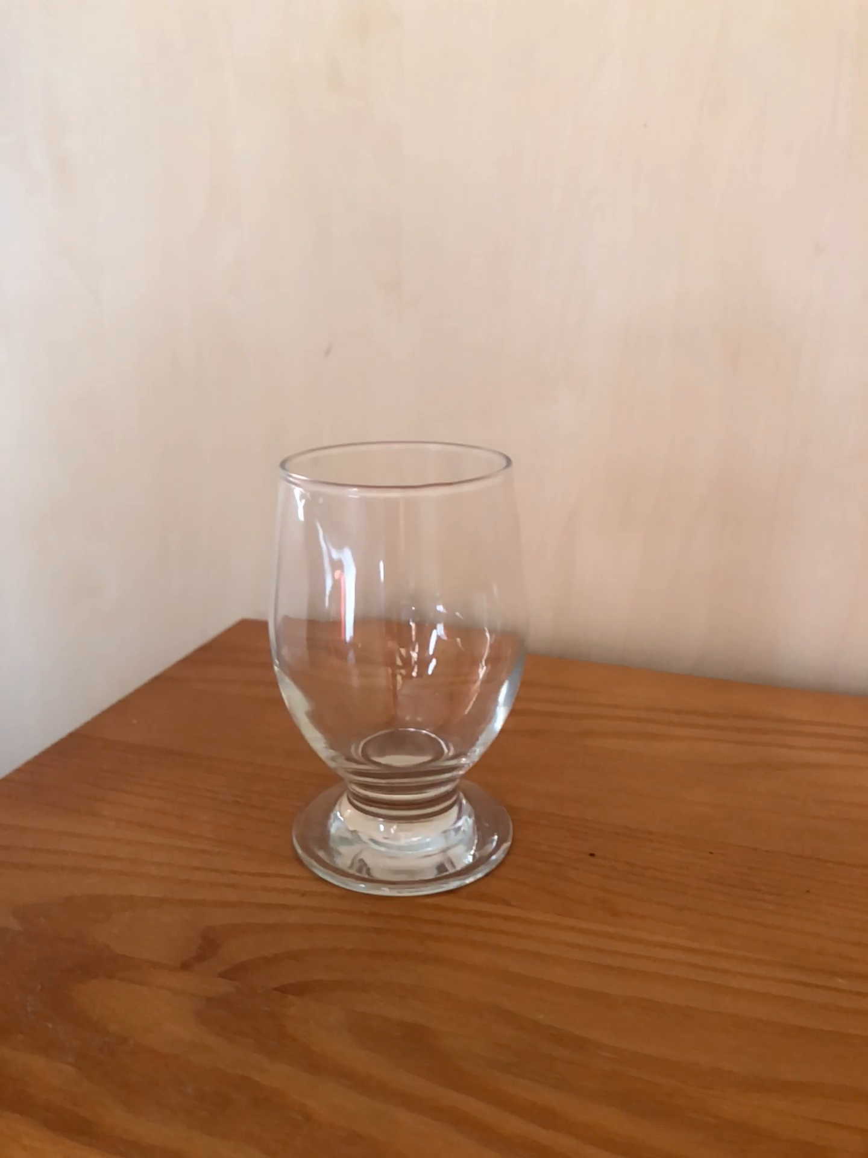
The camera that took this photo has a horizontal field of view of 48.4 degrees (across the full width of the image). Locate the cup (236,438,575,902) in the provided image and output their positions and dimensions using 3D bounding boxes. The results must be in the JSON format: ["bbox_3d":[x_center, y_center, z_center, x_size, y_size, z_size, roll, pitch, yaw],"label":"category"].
[{"bbox_3d":[-0.011,0.020,0.277,0.078,0.107,0.082,2,17,0],"label":"cup"}]
